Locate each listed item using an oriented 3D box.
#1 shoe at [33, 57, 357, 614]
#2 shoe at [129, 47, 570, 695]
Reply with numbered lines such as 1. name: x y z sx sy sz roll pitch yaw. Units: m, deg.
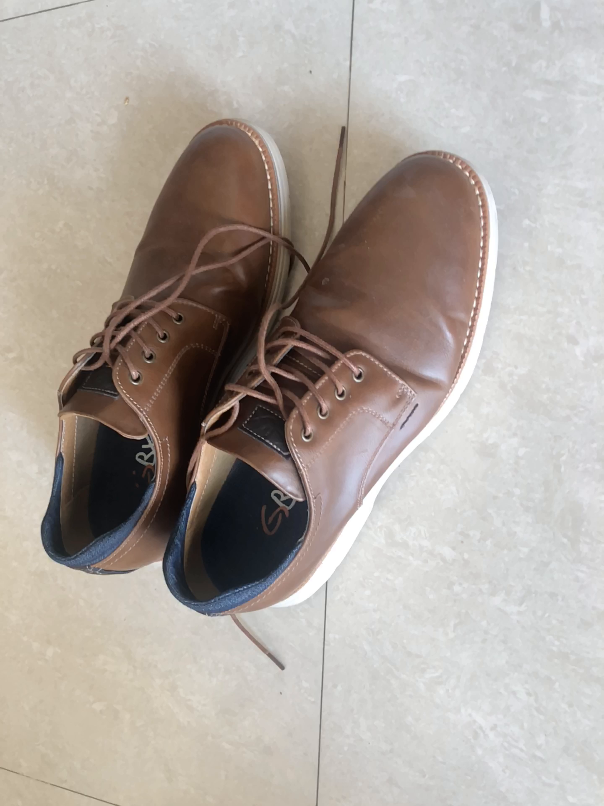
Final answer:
1. shoe: -0.066 -0.041 0.435 0.100 0.100 0.310 17 95 21
2. shoe: 0.029 -0.012 0.379 0.100 0.100 0.310 28 99 20
